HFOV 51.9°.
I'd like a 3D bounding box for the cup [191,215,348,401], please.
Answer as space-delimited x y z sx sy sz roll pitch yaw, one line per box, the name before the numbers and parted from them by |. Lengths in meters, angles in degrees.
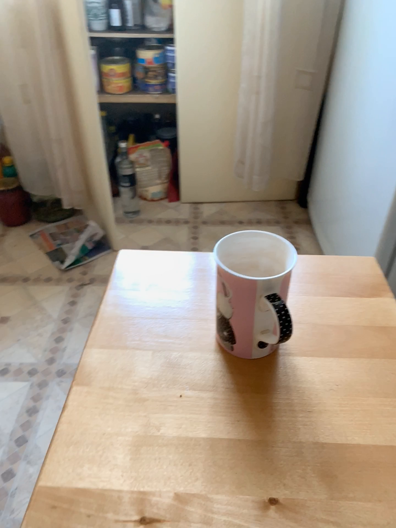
cup | 0.055 0.034 0.378 0.080 0.099 0.121 -16 39 -20
